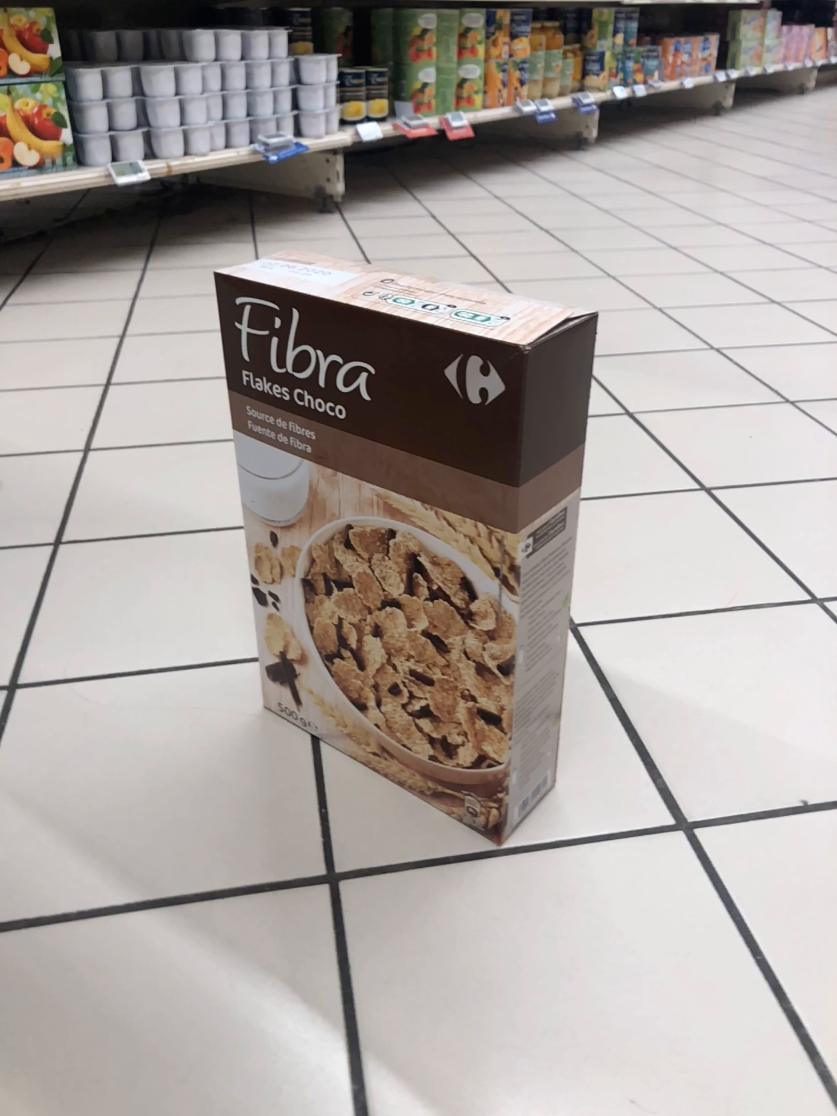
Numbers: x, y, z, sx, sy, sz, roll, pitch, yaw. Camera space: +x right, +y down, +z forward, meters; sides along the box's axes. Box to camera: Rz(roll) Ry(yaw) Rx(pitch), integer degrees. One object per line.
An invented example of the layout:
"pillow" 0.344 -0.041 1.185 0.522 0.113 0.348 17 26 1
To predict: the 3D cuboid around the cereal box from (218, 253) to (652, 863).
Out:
"cereal box" 0.002 -0.002 0.501 0.200 0.278 0.070 21 37 32
